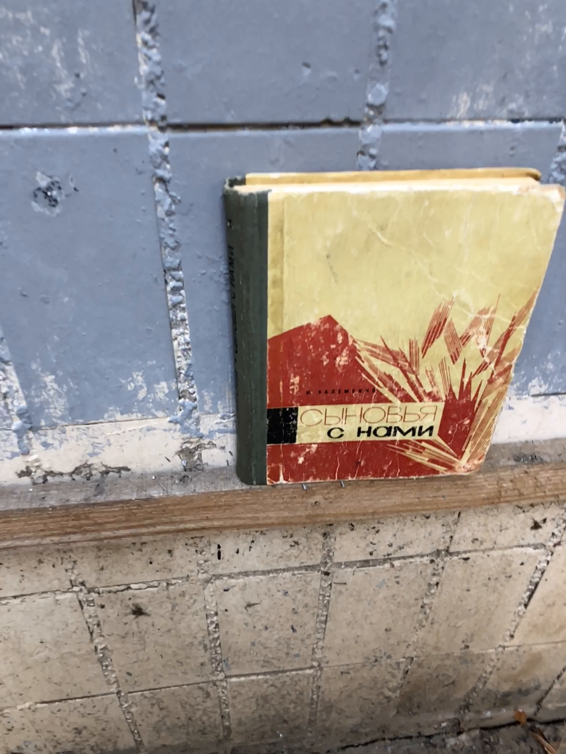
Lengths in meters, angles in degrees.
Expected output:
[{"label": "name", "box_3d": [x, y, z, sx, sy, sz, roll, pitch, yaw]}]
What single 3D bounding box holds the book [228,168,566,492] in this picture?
[{"label": "book", "box_3d": [0.045, -0.014, 0.289, 0.135, 0.156, 0.020, -3, 36, -5]}]
